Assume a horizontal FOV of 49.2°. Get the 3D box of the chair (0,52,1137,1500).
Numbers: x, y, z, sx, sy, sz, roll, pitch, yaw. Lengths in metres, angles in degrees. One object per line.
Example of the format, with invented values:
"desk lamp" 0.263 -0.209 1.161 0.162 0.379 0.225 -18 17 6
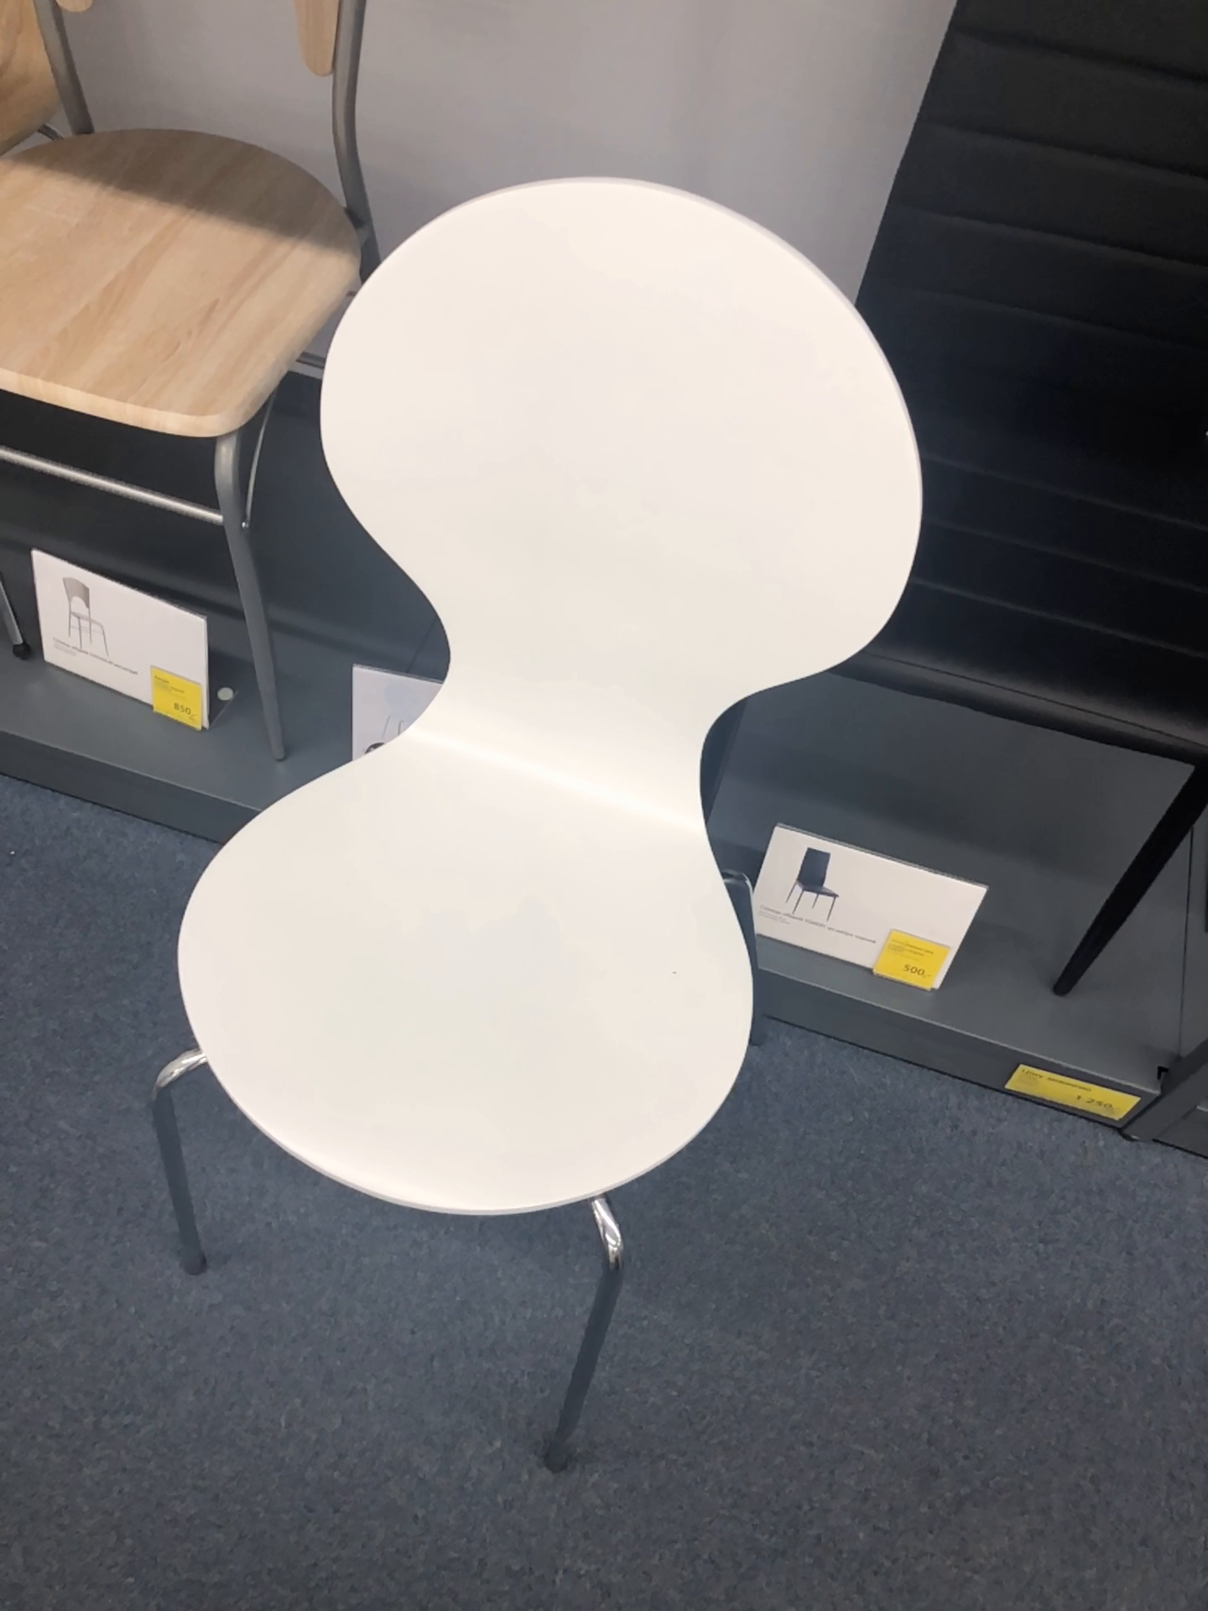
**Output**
"chair" -0.098 0.081 1.013 0.560 0.897 0.542 21 57 7
